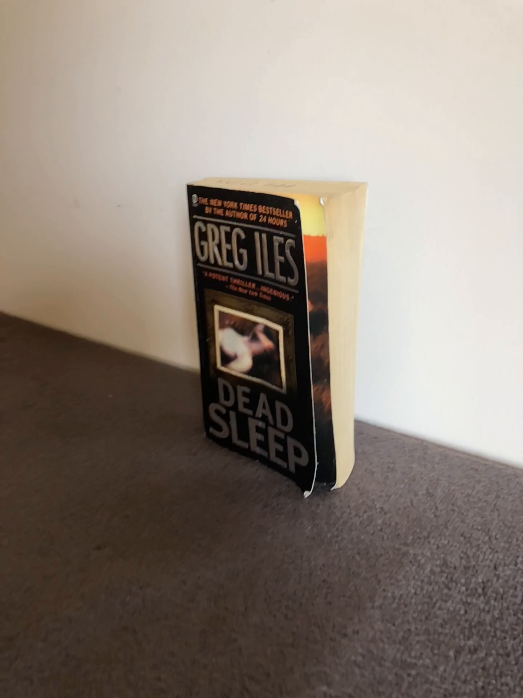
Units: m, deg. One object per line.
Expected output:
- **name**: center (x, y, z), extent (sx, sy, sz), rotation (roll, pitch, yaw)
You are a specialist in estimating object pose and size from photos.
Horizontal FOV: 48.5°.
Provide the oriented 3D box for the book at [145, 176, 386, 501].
- **book**: center (0.002, -0.015, 0.349), extent (0.123, 0.163, 0.061), rotation (15, 28, 38)
